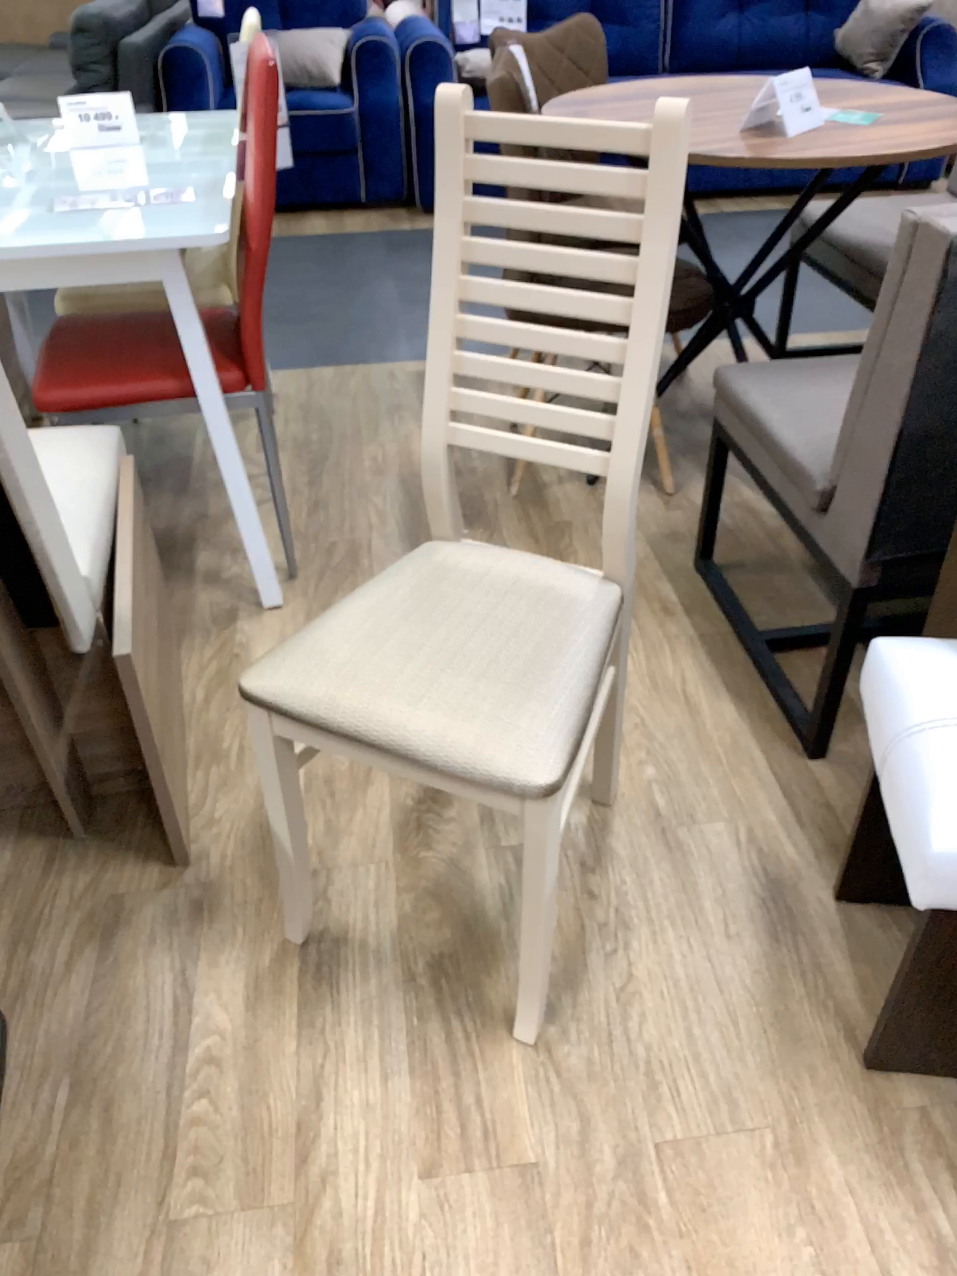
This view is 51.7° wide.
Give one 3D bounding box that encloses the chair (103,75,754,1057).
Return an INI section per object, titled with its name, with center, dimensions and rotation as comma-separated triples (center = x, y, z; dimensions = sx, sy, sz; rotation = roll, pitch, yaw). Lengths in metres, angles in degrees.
[chair]
center = -0.005, -0.060, 1.150
dimensions = 0.390, 0.969, 0.475
rotation = 16, 39, 21
